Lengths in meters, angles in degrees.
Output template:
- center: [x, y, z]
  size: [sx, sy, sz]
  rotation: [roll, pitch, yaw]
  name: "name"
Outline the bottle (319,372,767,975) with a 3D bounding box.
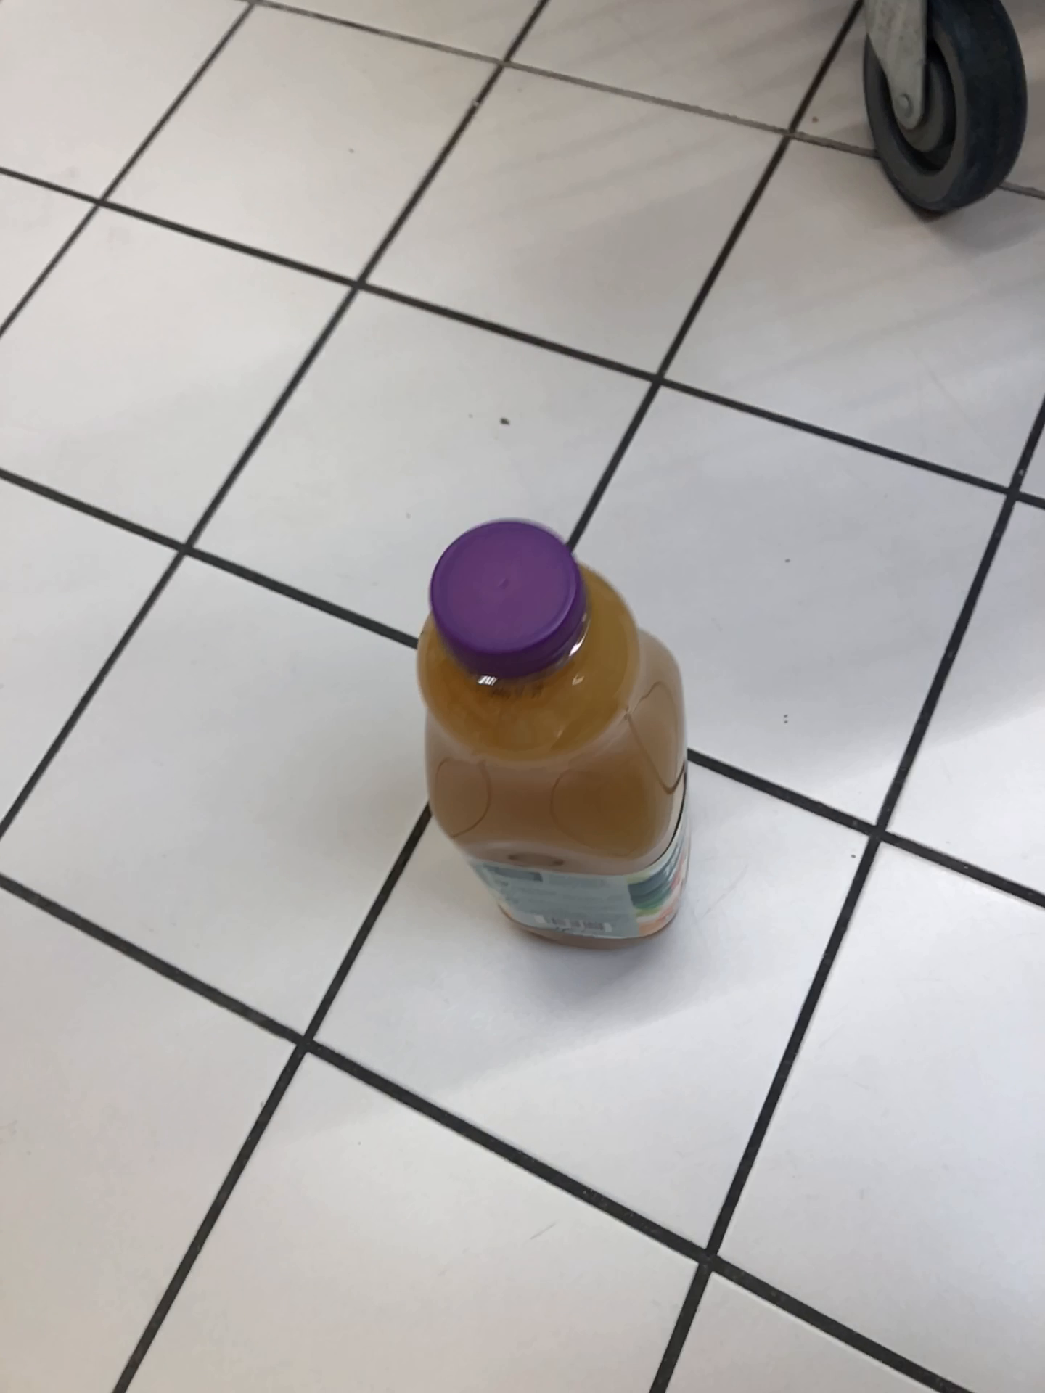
- center: [0.025, 0.017, 0.413]
  size: [0.100, 0.279, 0.100]
  rotation: [-3, 66, 7]
  name: "bottle"
